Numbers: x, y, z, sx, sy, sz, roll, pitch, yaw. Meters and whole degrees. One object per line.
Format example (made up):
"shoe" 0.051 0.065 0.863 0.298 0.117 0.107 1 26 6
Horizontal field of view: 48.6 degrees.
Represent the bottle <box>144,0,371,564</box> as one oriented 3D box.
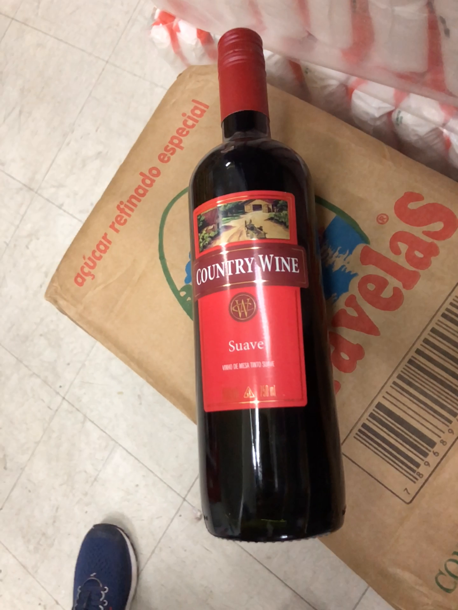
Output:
"bottle" 0.013 -0.026 0.276 0.080 0.060 0.290 -9 80 20
